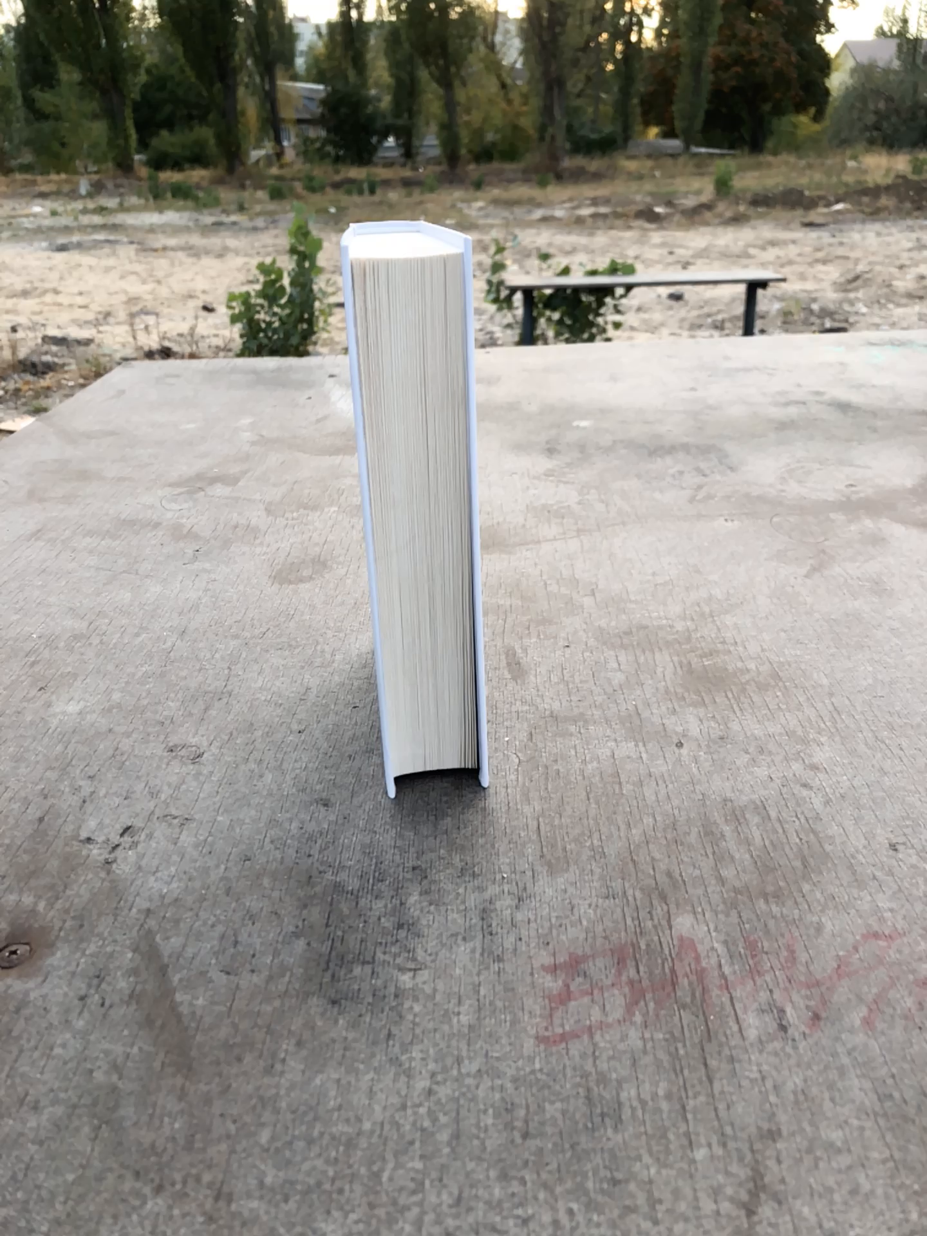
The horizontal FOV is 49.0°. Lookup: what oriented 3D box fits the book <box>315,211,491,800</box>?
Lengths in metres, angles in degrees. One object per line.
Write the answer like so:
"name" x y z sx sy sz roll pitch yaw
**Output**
"book" -0.026 -0.058 0.436 0.050 0.209 0.161 -4 24 -4
